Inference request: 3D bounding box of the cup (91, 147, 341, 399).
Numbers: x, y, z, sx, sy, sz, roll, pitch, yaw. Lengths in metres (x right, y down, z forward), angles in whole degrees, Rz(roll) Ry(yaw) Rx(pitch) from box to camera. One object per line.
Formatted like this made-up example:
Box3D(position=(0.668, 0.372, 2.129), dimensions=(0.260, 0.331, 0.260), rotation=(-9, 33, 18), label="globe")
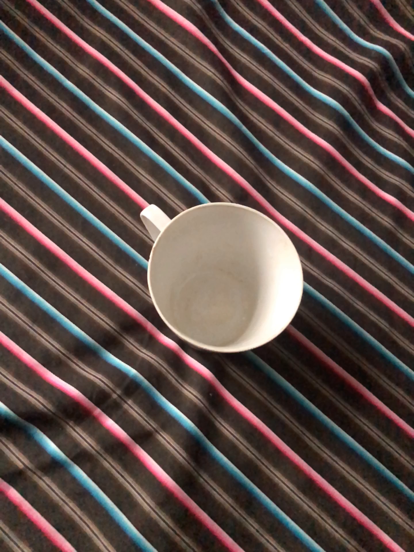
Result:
Box3D(position=(0.002, 0.000, 0.235), dimensions=(0.073, 0.049, 0.094), rotation=(-34, 78, -14), label="cup")
